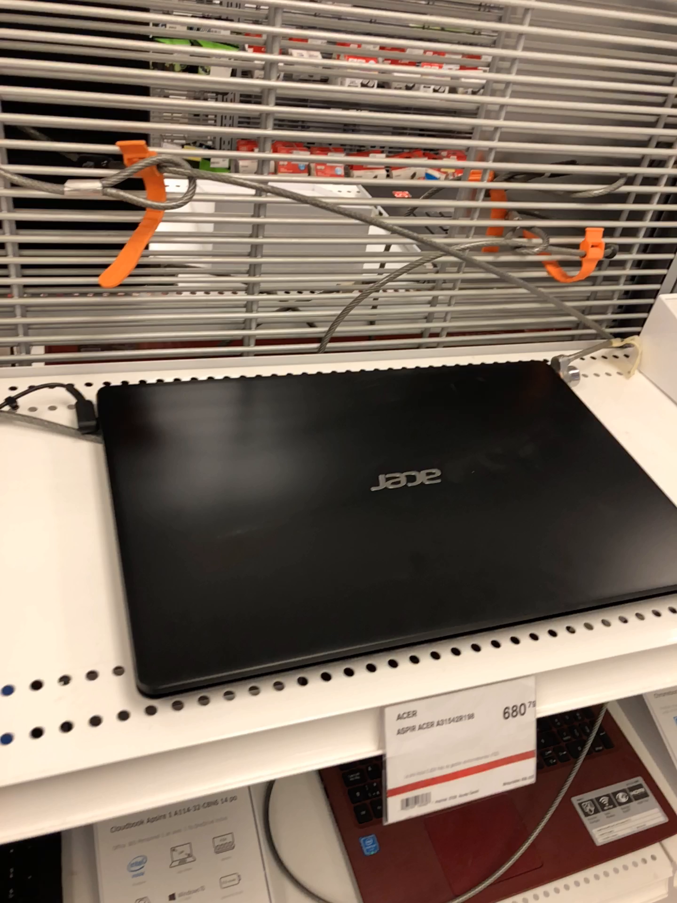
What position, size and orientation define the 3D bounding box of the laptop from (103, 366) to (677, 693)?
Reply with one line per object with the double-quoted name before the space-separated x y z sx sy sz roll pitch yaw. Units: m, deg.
"laptop" 0.040 0.020 0.489 0.355 0.006 0.232 -5 42 -20
